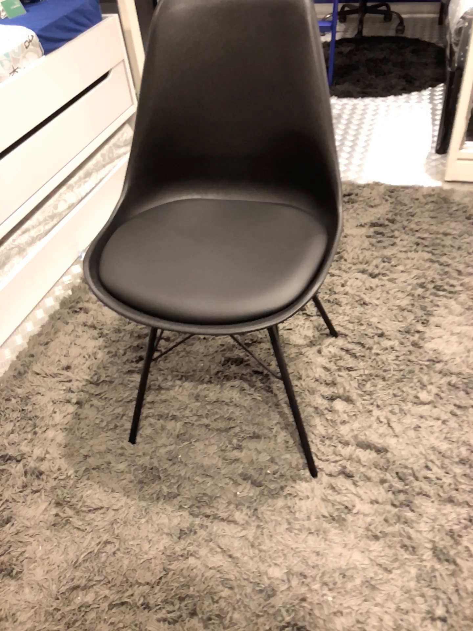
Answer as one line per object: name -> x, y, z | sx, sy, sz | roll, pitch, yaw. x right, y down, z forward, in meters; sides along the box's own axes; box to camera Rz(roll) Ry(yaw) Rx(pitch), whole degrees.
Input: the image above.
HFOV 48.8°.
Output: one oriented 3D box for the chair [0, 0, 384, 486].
chair -> -0.034, -0.159, 1.056 | 0.520, 0.804, 0.534 | 8, 44, 16
